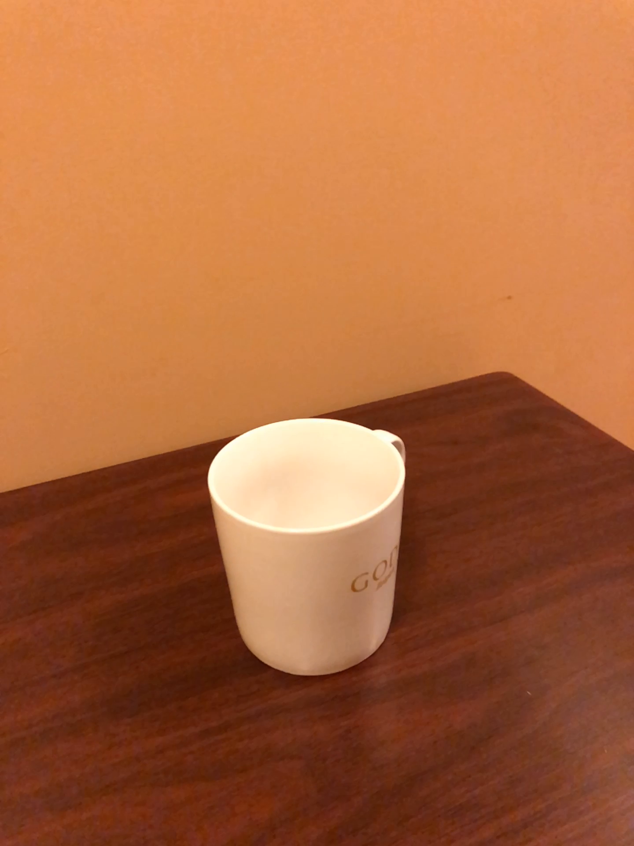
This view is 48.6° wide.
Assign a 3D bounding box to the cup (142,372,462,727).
[{"bbox_3d":[0.003,0.055,0.388,0.110,0.100,0.151,11,32,24],"label":"cup"}]
